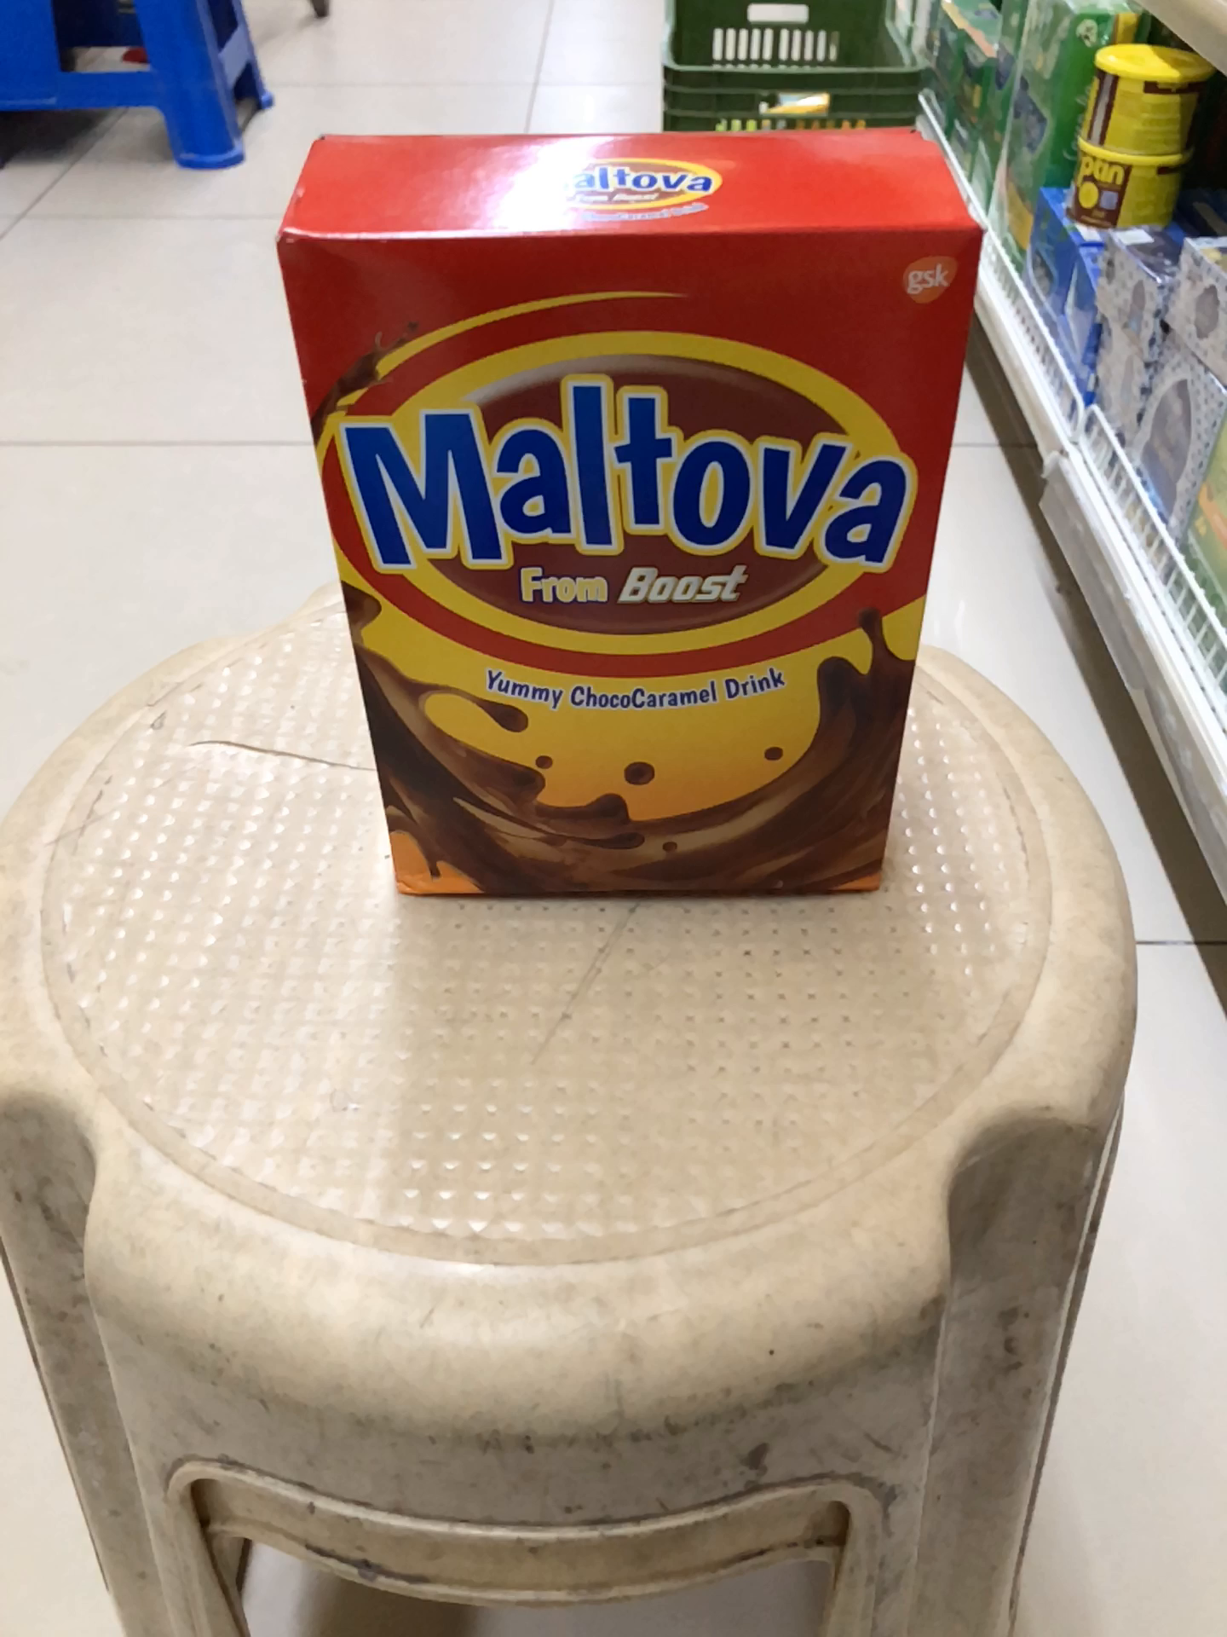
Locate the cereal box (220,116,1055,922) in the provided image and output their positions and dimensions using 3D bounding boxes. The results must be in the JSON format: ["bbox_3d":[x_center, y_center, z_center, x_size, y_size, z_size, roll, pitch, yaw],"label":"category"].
[{"bbox_3d":[0.005,-0.063,0.329,0.150,0.179,0.070,0,42,0],"label":"cereal box"}]
